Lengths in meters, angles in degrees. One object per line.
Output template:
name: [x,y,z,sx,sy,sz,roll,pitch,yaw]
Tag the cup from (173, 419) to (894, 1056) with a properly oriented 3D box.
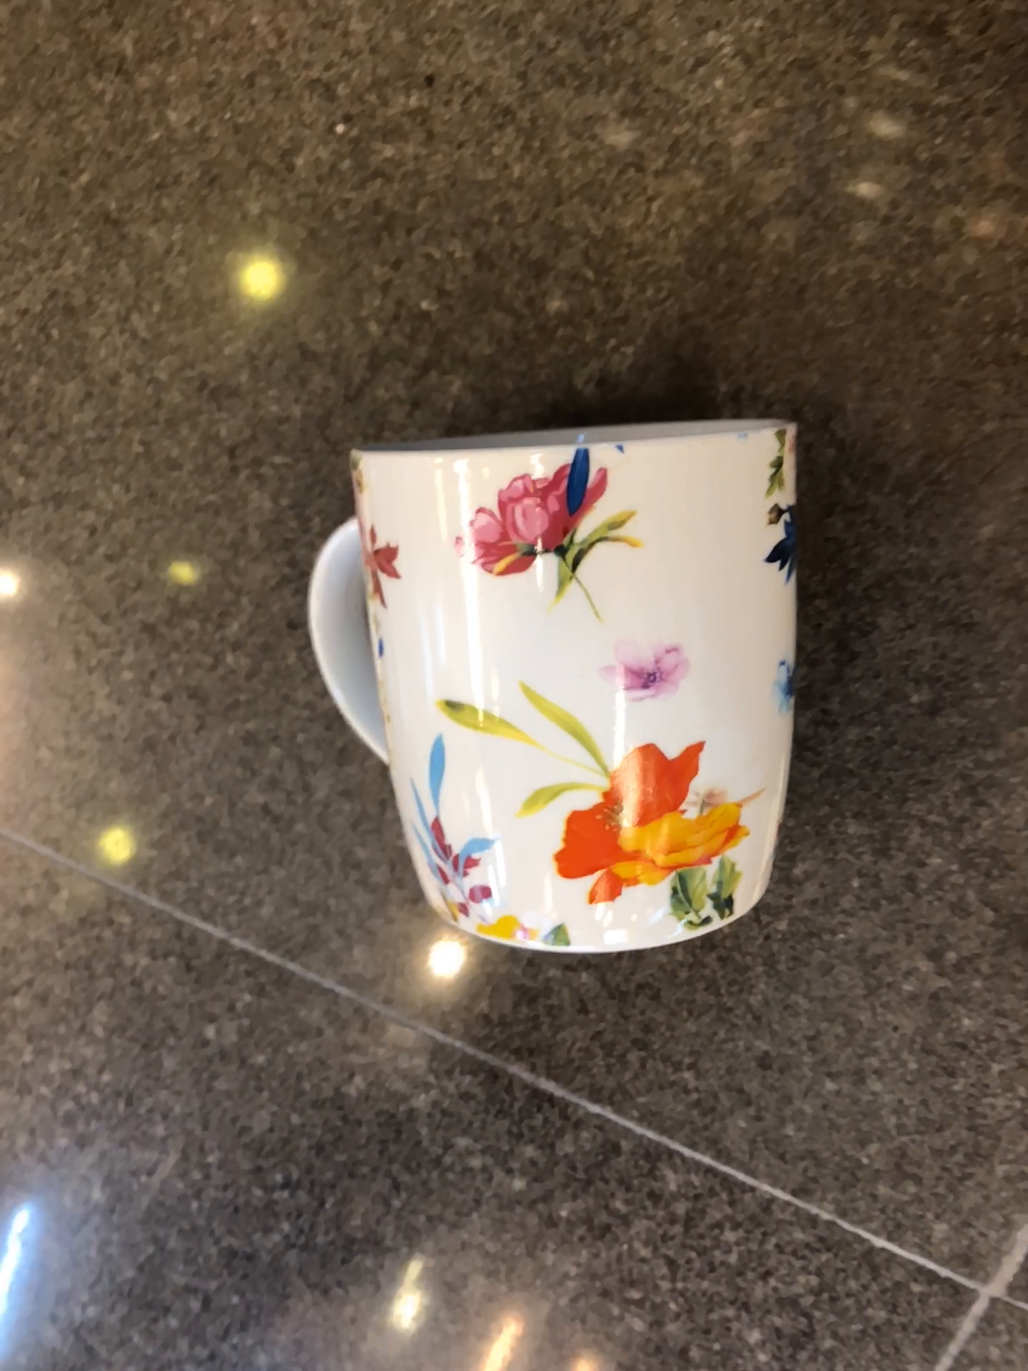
cup: [0.000,-0.003,0.233,0.120,0.080,0.090,10,109,48]
